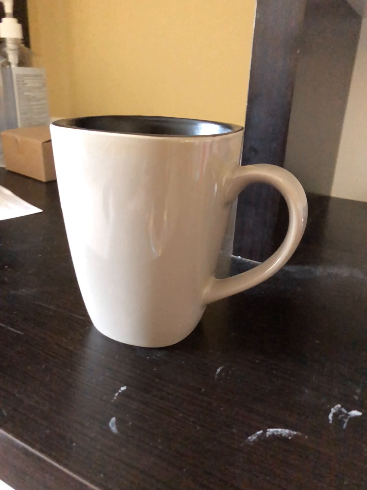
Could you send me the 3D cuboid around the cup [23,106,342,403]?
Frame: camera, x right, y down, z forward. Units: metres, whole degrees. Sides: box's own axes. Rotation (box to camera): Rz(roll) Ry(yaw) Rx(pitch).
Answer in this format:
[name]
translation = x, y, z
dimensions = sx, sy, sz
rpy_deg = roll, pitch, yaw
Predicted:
[cup]
translation = 0.005, -0.011, 0.226
dimensions = 0.130, 0.110, 0.100
rpy_deg = 12, 25, 21
